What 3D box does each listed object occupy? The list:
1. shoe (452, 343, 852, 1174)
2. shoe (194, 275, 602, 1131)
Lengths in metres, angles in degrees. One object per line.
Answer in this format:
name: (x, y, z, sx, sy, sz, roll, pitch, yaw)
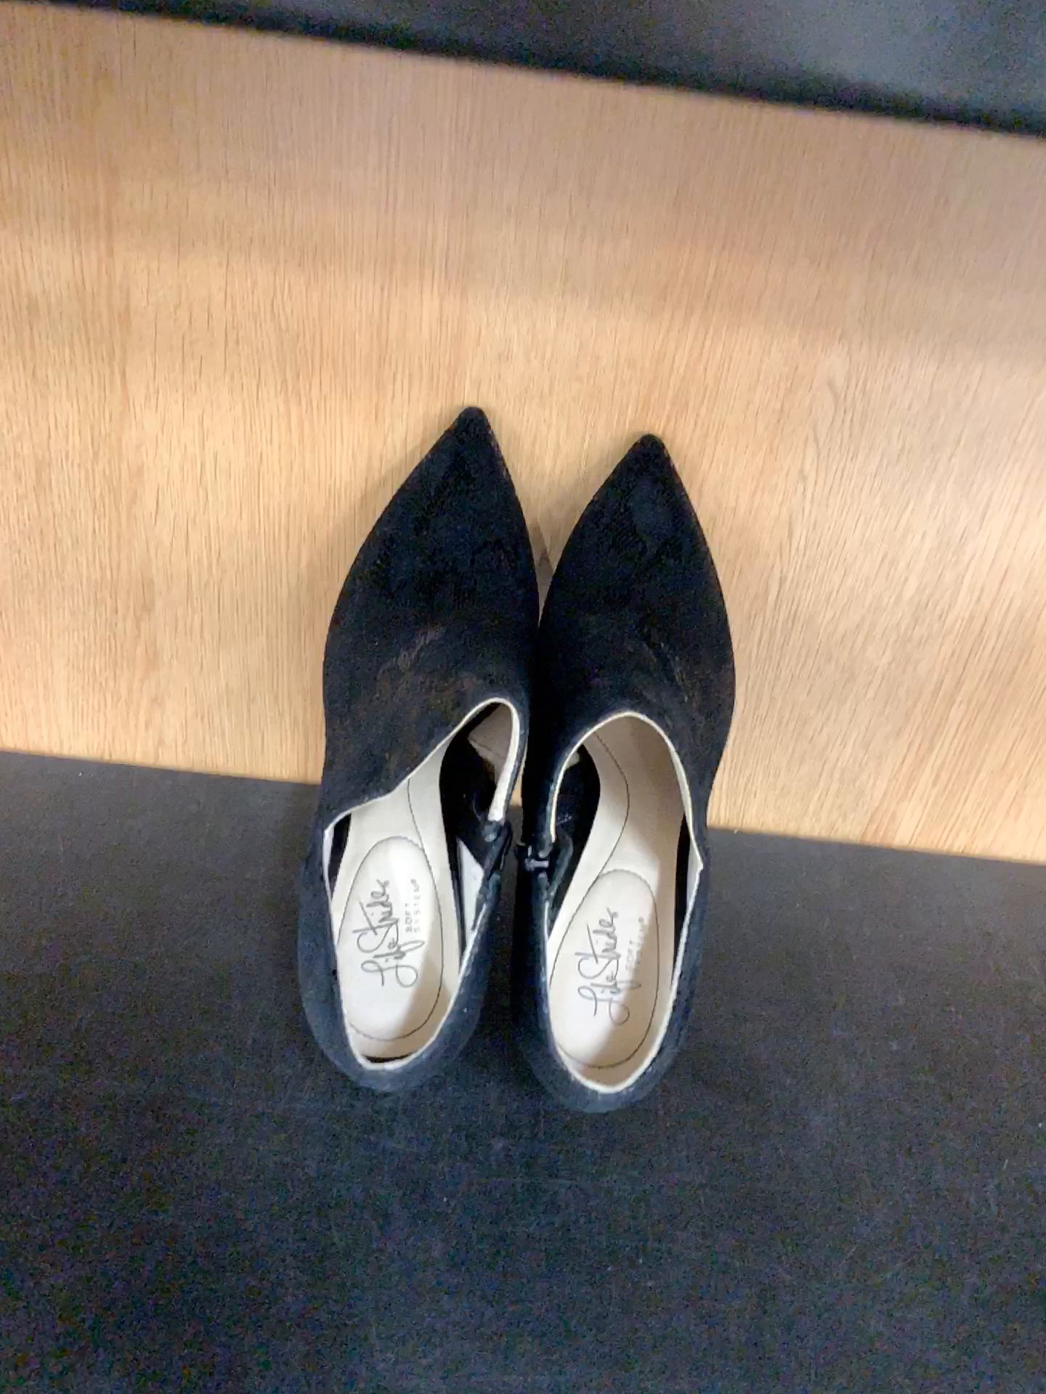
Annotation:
shoe: (0.055, 0.019, 0.434, 0.111, 0.280, 0.120, 6, -7, 8)
shoe: (-0.041, 0.004, 0.417, 0.101, 0.270, 0.140, 6, -7, -3)
